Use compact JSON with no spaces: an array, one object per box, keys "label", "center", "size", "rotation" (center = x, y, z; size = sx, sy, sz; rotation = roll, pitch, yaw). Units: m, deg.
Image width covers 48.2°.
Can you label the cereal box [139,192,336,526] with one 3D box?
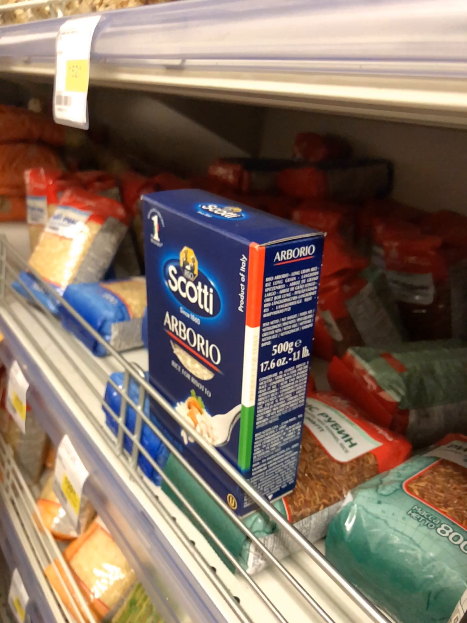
[{"label":"cereal box","center":[-0.007,0.020,0.310],"size":[0.050,0.159,0.110],"rotation":[-13,27,-35]}]
